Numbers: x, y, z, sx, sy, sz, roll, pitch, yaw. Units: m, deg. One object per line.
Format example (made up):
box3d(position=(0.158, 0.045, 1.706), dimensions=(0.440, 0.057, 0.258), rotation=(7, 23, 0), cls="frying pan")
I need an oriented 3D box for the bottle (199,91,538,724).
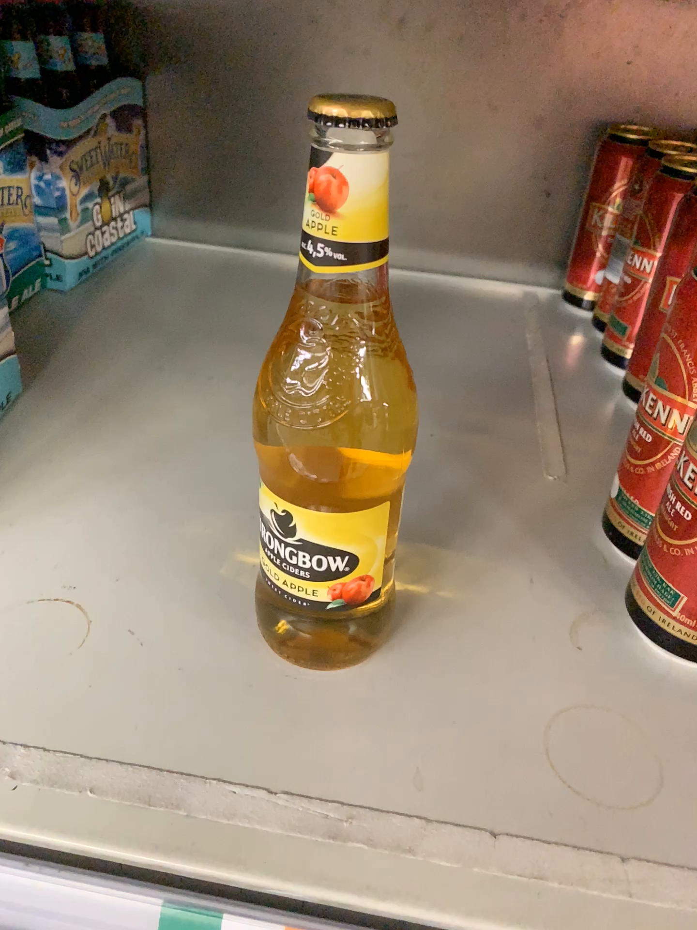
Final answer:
box3d(position=(-0.002, -0.017, 0.302), dimensions=(0.080, 0.239, 0.080), rotation=(4, 33, -3), cls="bottle")
